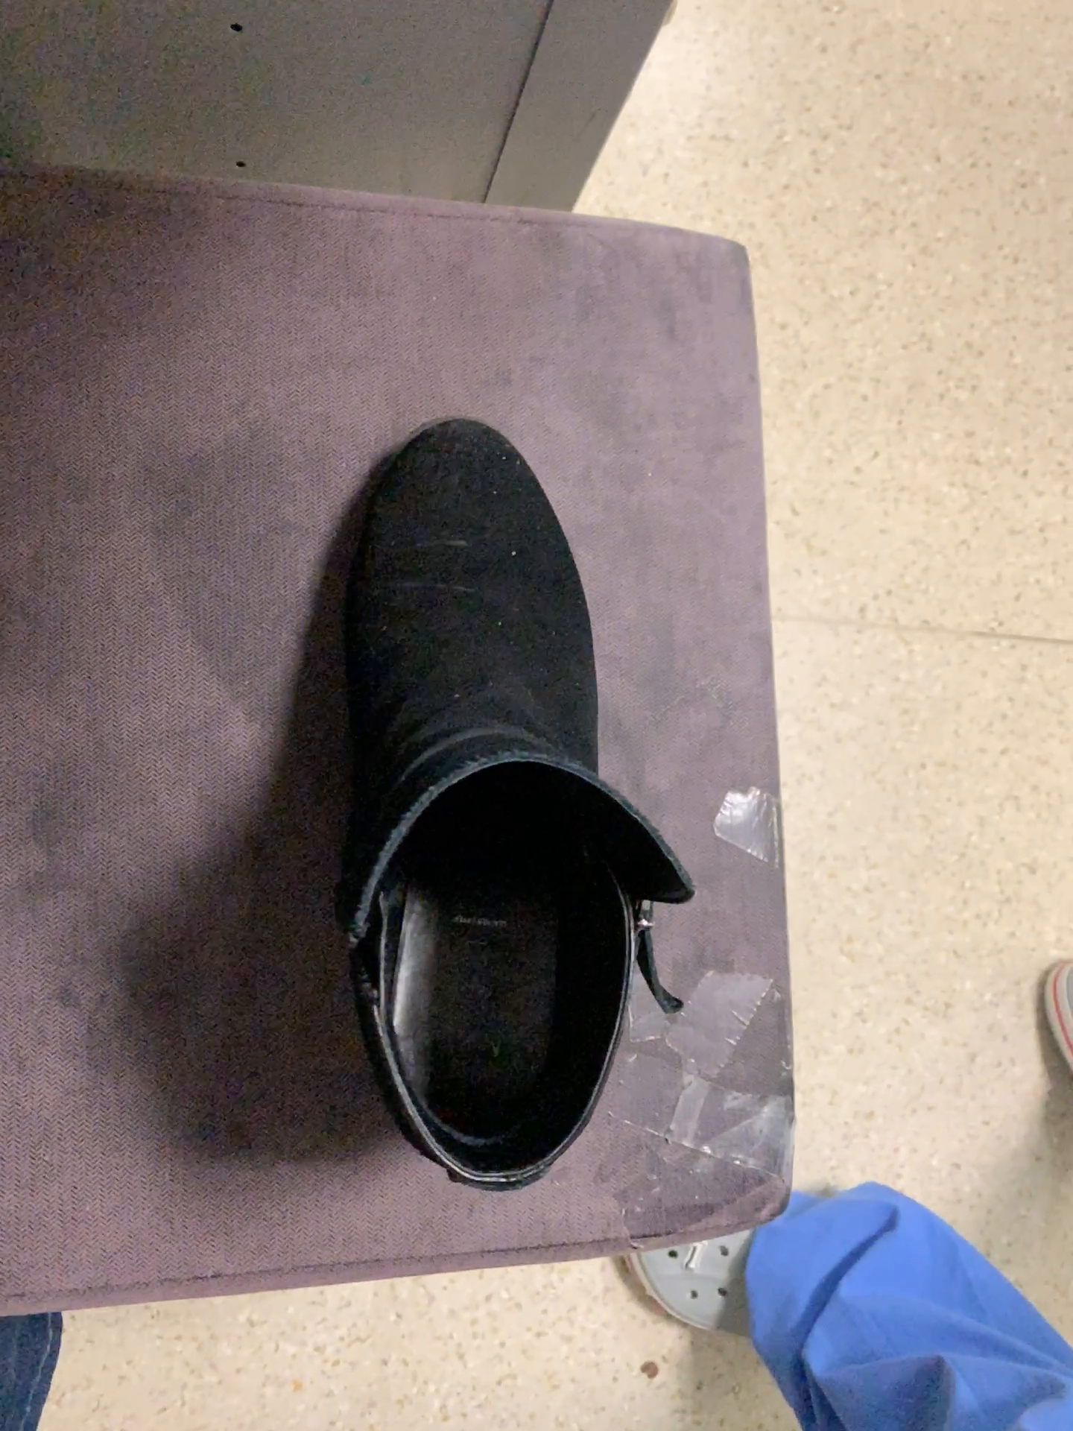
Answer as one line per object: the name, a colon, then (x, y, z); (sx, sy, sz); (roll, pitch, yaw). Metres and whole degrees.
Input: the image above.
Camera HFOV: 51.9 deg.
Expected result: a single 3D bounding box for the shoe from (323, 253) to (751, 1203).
shoe: (-0.011, 0.006, 0.349); (0.100, 0.138, 0.235); (2, 82, -13)
